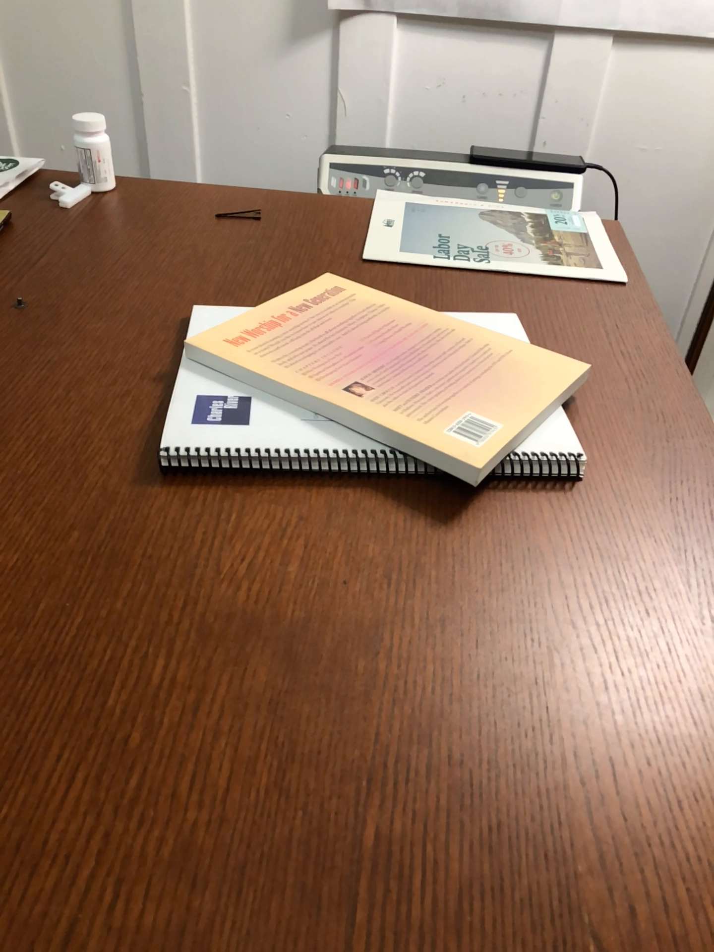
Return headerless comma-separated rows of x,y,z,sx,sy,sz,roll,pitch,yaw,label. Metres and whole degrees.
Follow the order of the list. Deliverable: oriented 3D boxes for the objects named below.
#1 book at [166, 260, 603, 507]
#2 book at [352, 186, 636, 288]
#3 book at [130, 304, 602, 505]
0.022,-0.086,0.581,0.260,0.020,0.191,26,43,25,book
0.137,-0.258,0.828,0.270,0.010,0.201,5,38,1,book
0.002,-0.062,0.576,0.290,0.020,0.231,0,38,-5,book
